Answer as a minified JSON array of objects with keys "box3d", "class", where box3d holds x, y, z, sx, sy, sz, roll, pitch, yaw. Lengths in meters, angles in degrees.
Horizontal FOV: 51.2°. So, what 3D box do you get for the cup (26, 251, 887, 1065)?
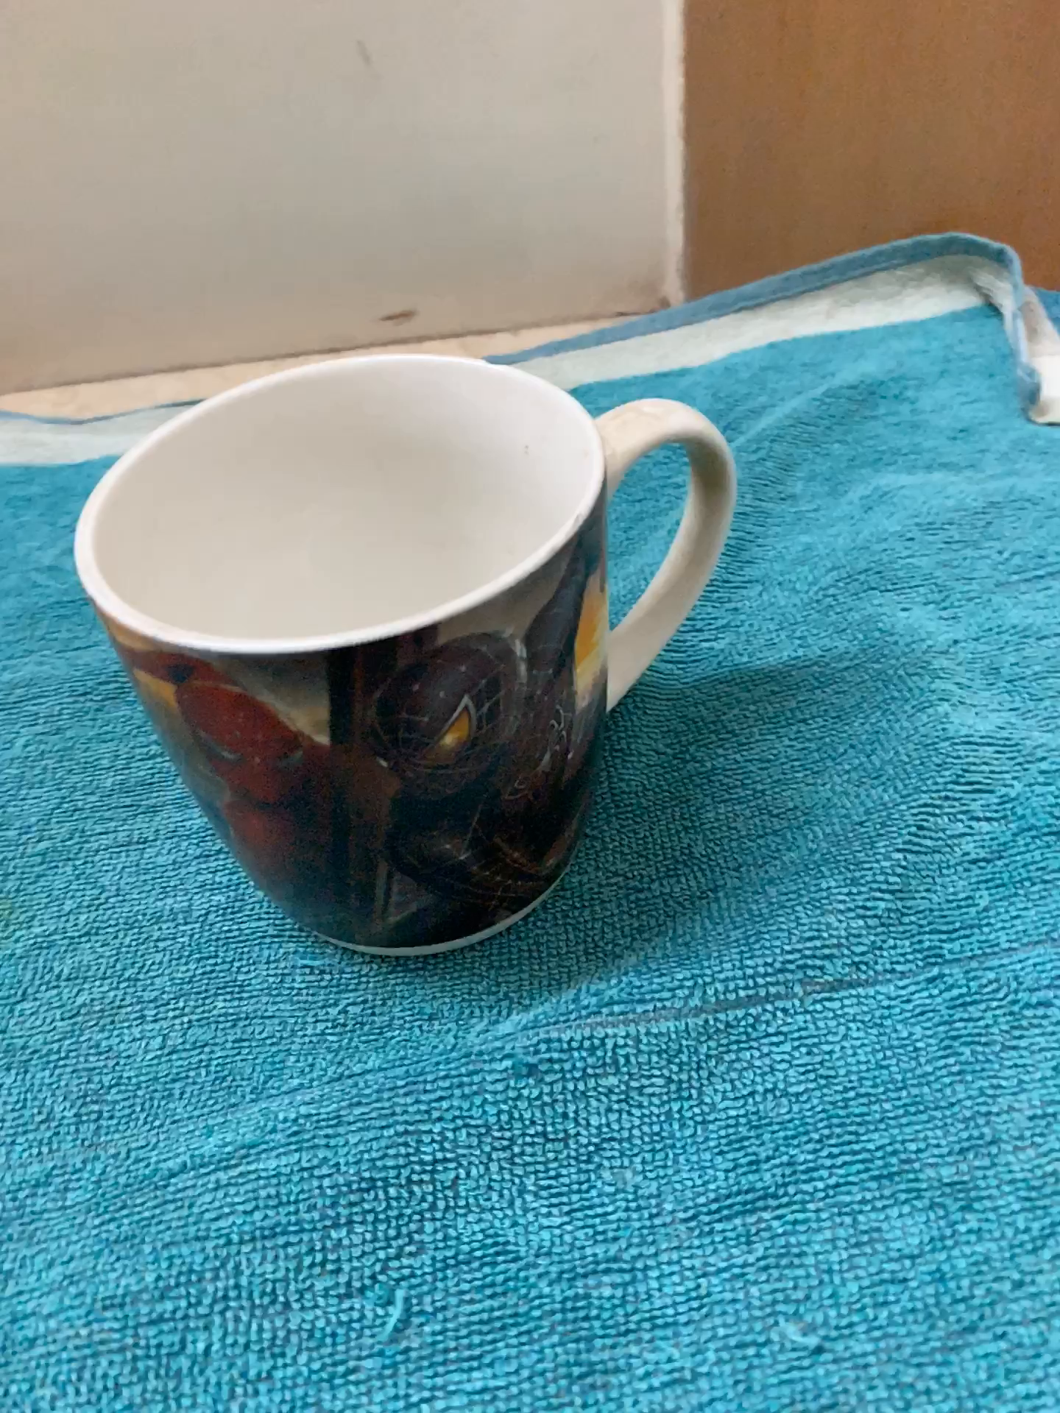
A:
[{"box3d":[-0.011,-0.015,0.213,0.120,0.089,0.081,-25,46,-18],"class":"cup"}]
